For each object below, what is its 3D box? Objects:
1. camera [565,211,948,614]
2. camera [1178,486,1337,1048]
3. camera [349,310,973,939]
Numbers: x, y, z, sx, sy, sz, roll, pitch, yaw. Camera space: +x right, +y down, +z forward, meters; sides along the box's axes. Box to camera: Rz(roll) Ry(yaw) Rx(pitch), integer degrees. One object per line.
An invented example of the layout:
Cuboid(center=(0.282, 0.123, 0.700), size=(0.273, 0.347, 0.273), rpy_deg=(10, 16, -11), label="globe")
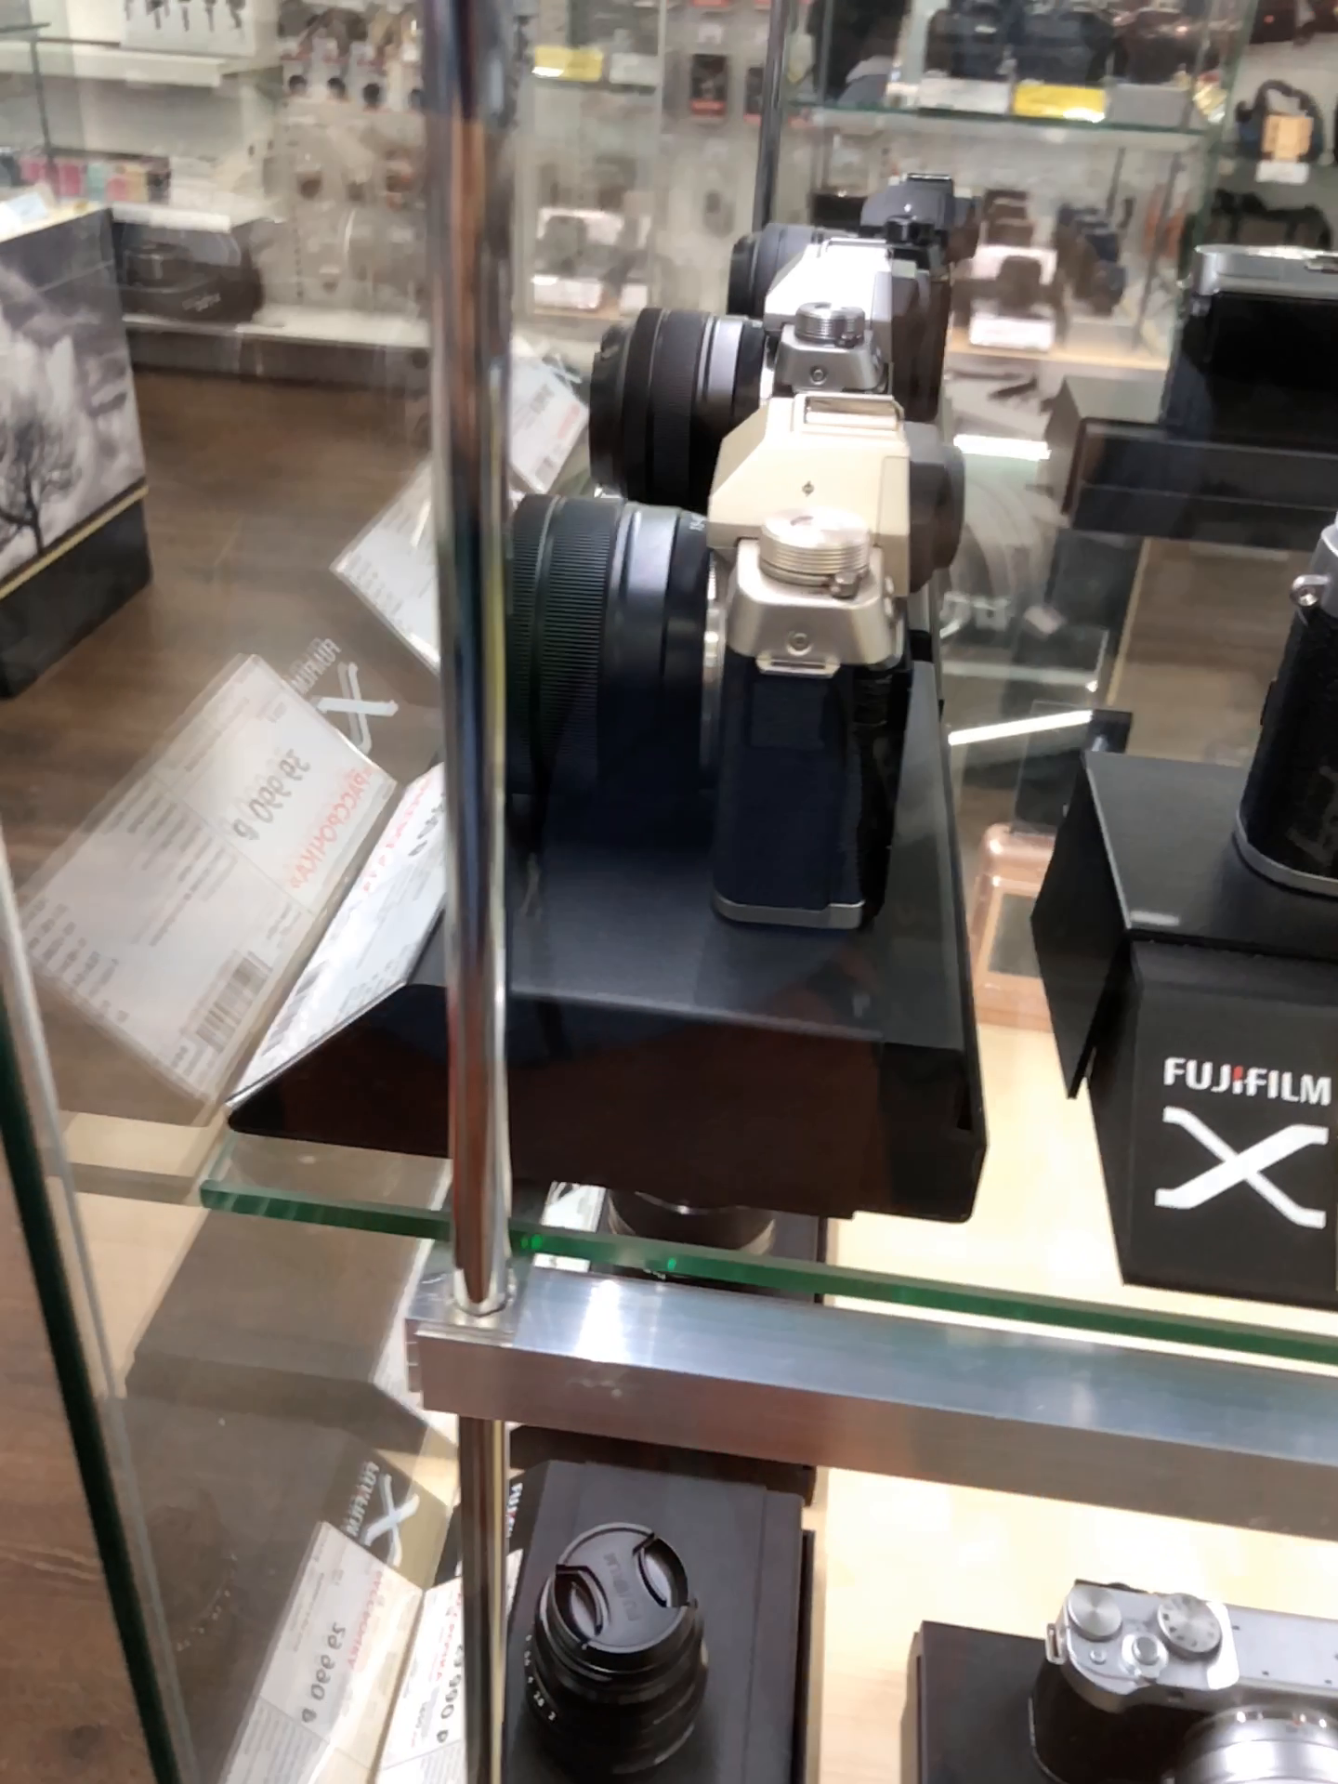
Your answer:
Cuboid(center=(0.030, -0.162, 0.482), size=(0.102, 0.086, 0.141), rpy_deg=(6, 32, 4), label="camera")
Cuboid(center=(0.178, -0.026, 0.287), size=(0.131, 0.076, 0.055), rpy_deg=(8, 32, 7), label="camera")
Cuboid(center=(0.002, -0.064, 0.313), size=(0.100, 0.080, 0.132), rpy_deg=(5, 32, 3), label="camera")
